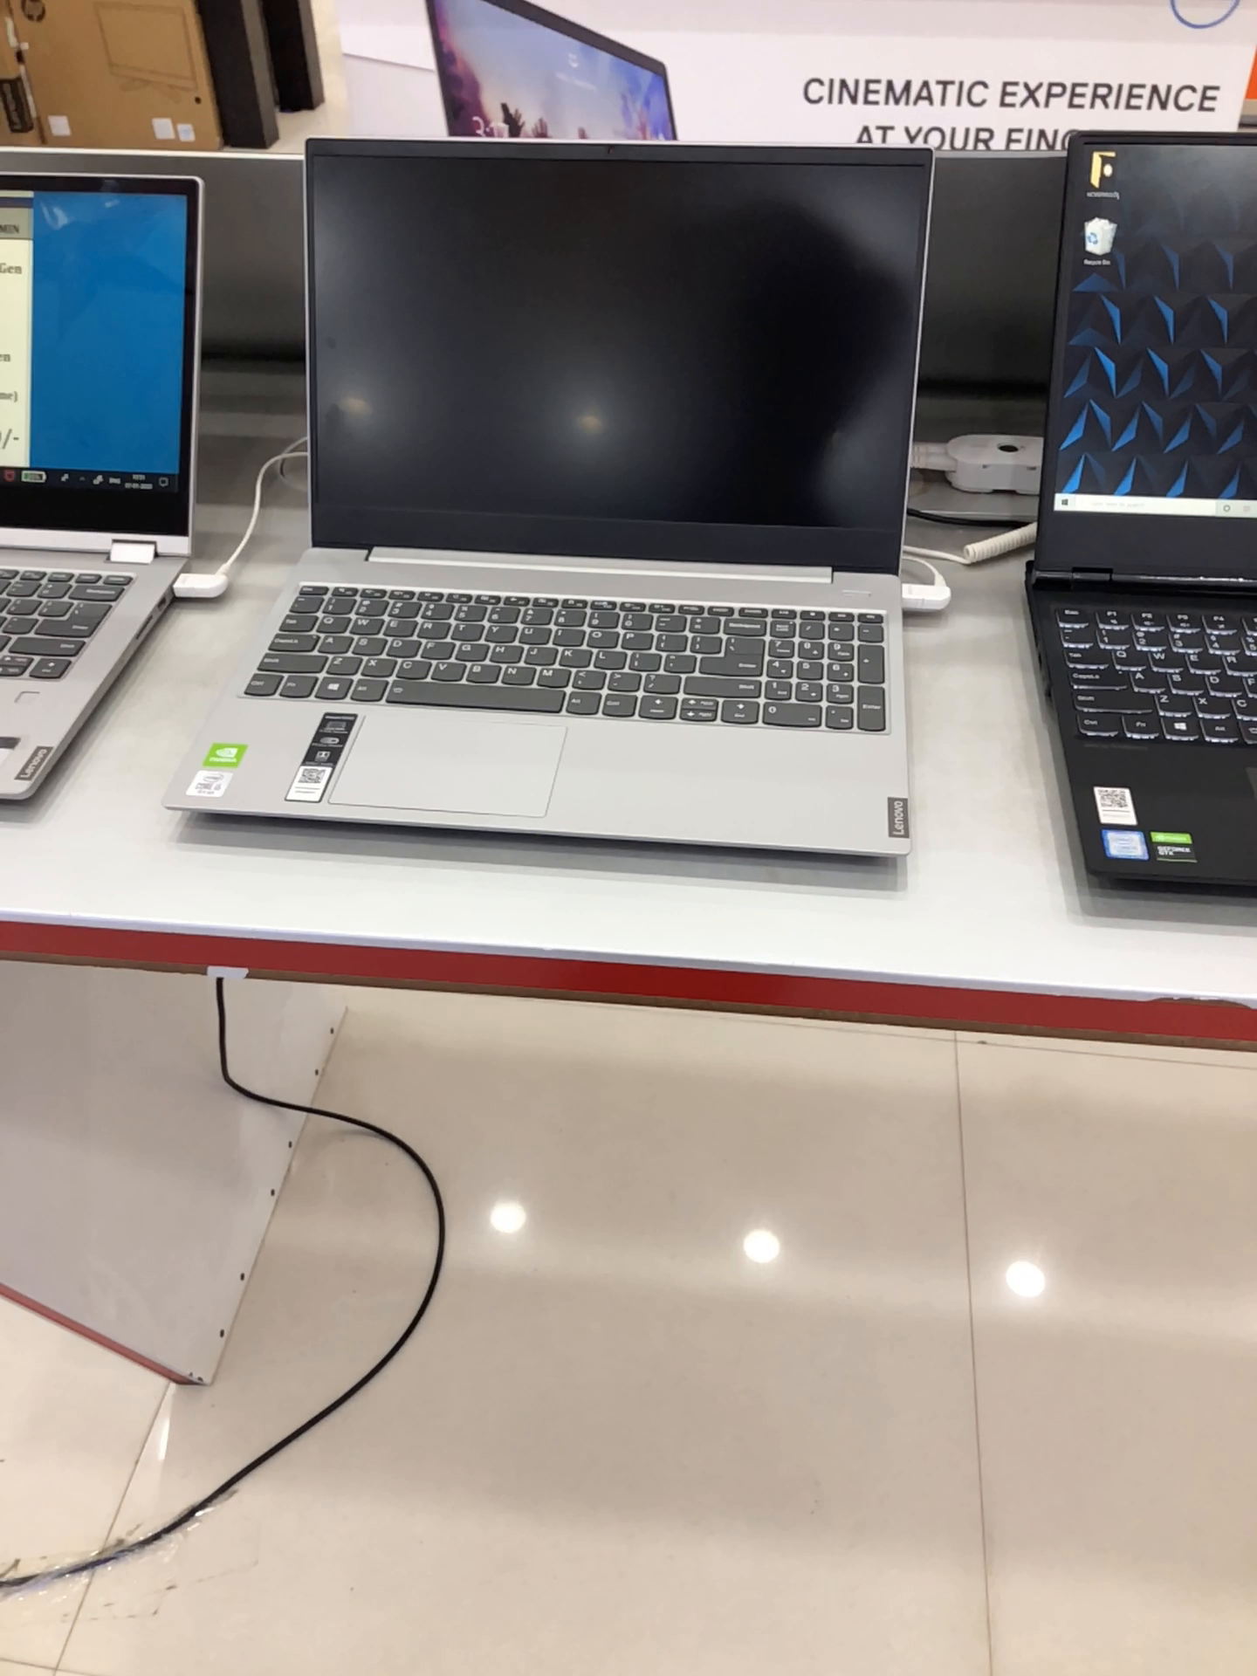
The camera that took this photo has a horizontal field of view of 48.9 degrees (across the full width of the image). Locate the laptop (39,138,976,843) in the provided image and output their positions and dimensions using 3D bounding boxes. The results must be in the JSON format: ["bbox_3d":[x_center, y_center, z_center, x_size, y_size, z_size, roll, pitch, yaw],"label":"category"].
[{"bbox_3d":[-0.026,-0.193,0.690,0.341,0.196,0.346,3,42,6],"label":"laptop"}]
